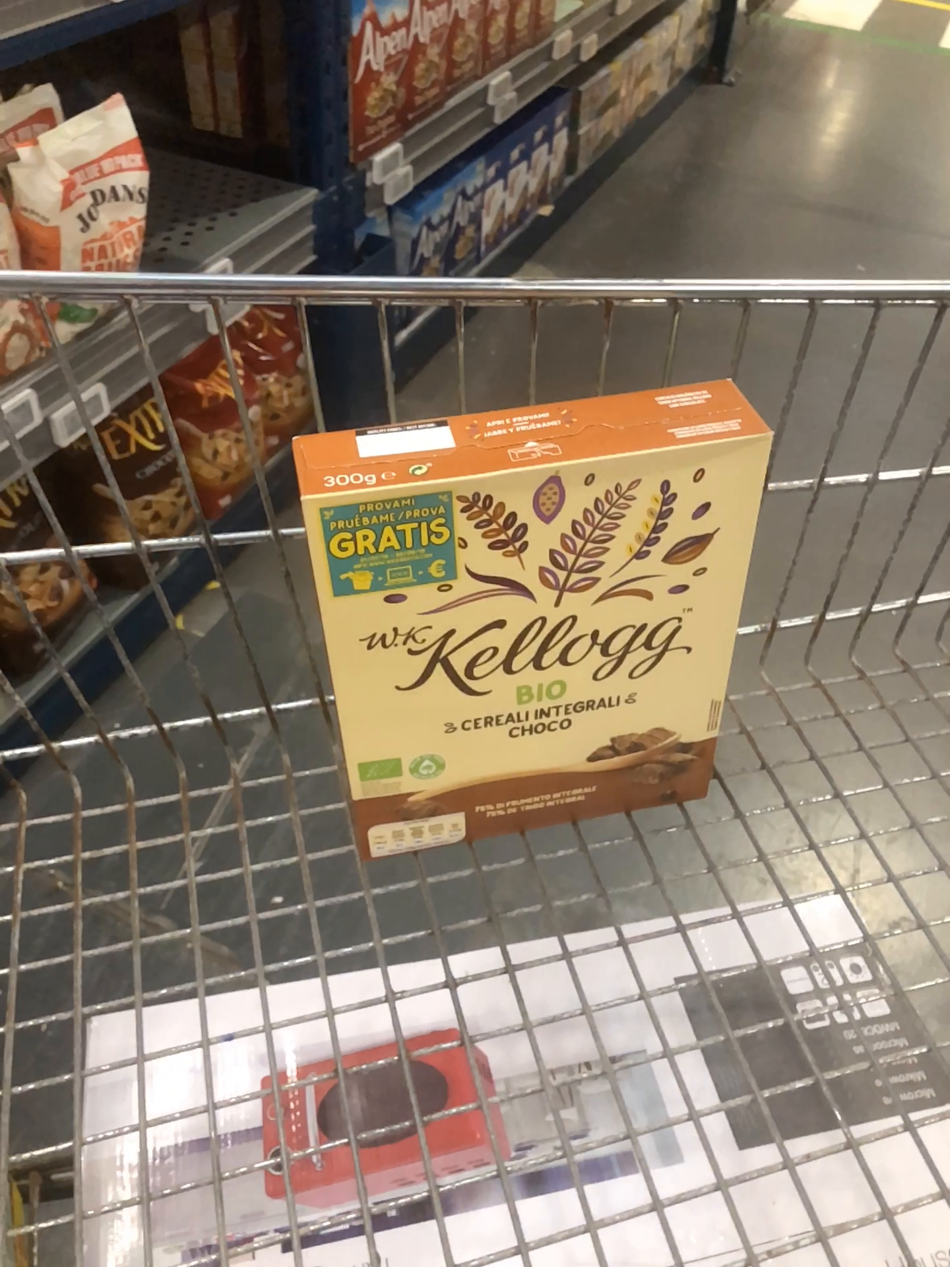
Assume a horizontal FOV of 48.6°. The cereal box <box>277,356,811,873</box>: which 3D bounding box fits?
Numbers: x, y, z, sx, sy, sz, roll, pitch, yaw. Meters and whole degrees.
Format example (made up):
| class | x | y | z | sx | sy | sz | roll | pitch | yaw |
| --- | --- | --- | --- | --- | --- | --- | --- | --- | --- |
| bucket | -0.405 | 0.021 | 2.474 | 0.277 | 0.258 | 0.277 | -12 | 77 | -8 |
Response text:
| class | x | y | z | sx | sy | sz | roll | pitch | yaw |
| --- | --- | --- | --- | --- | --- | --- | --- | --- | --- |
| cereal box | 0.029 | 0.000 | 0.485 | 0.200 | 0.219 | 0.060 | -10 | 42 | -9 |
